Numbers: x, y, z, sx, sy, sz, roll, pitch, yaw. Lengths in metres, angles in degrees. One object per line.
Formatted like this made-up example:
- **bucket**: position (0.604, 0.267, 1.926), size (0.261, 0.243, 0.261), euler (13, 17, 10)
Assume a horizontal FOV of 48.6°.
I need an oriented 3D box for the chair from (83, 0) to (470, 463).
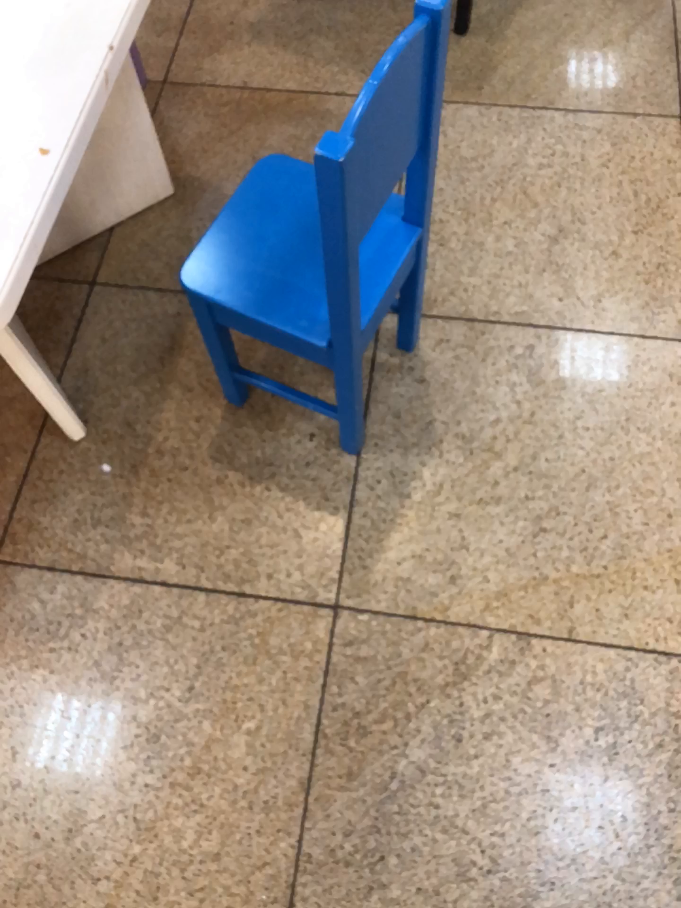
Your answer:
- **chair**: position (-0.049, -0.303, 1.075), size (0.300, 0.639, 0.300), euler (23, 67, 12)
